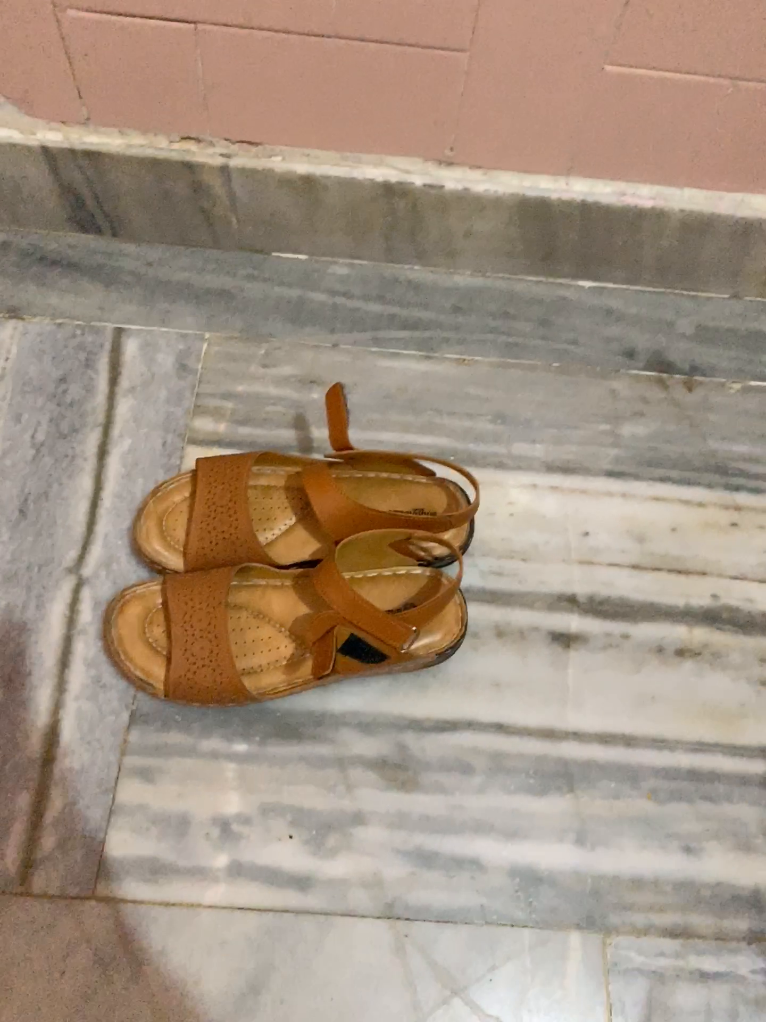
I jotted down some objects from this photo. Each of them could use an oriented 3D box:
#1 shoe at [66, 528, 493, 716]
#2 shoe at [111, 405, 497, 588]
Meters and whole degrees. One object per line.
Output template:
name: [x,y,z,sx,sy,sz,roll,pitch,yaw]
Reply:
shoe: [-0.066,0.077,0.537,0.256,0.100,0.090,-2,64,-5]
shoe: [-0.053,-0.007,0.575,0.250,0.100,0.090,2,64,-4]
